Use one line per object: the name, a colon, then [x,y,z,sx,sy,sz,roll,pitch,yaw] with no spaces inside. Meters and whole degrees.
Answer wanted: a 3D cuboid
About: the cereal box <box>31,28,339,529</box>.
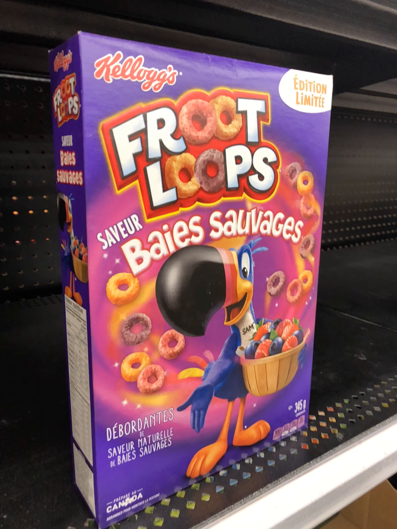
cereal box: [0.003,0.008,0.322,0.210,0.289,0.050,-8,15,-33]
